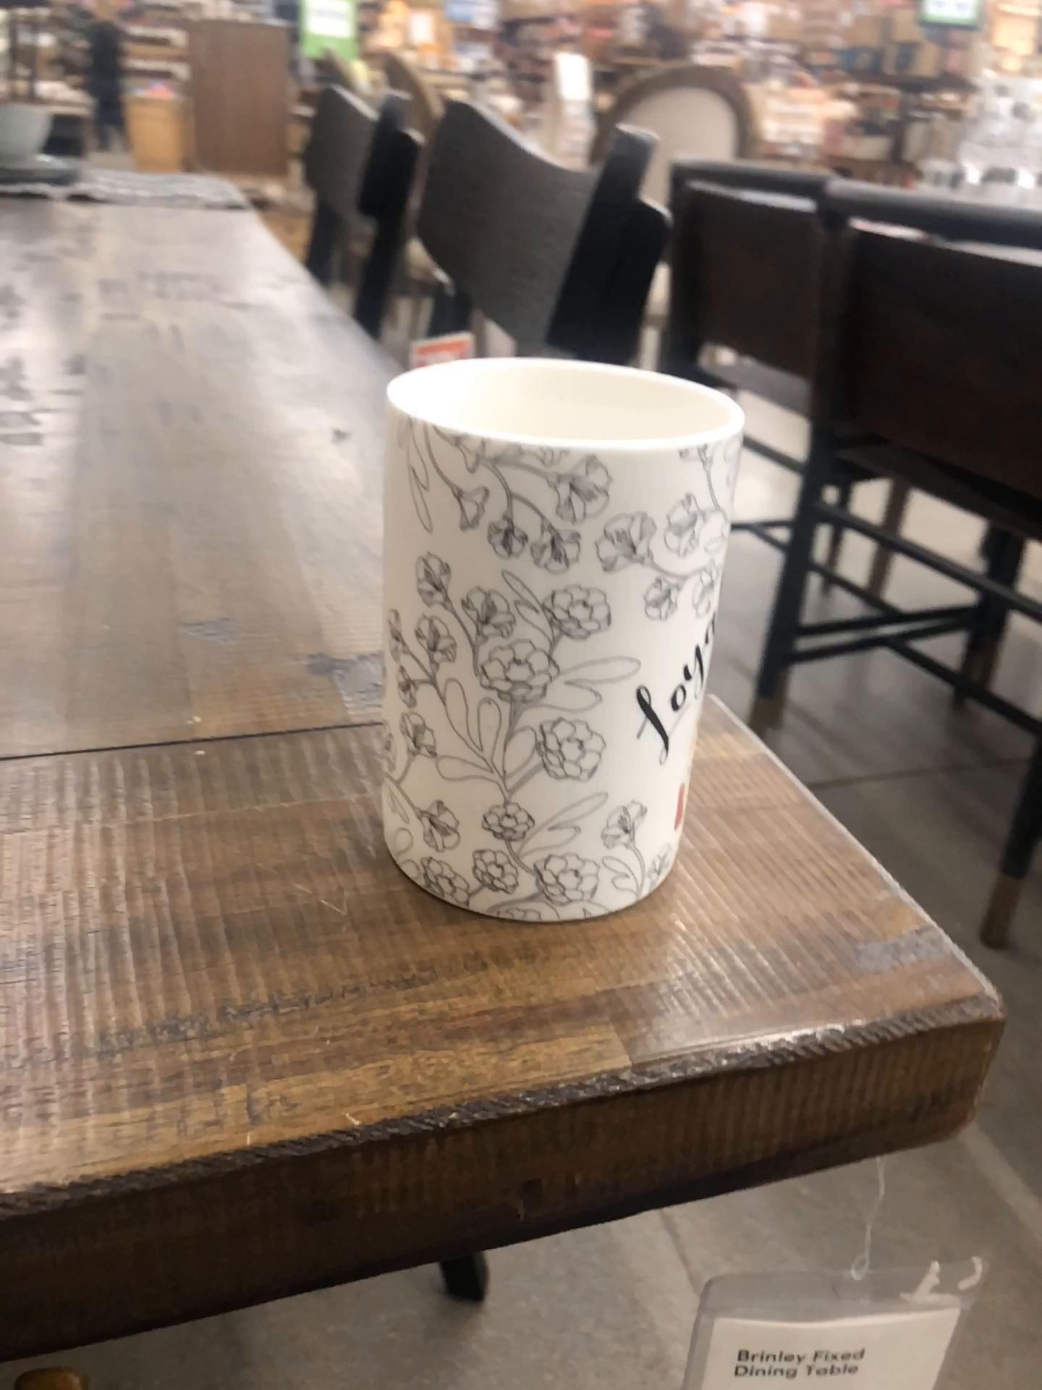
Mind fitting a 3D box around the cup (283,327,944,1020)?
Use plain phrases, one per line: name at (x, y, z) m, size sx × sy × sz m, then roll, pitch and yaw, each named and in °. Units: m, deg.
cup at (0.022, -0.018, 0.286) m, size 0.097 × 0.115 × 0.120 m, roll 23°, pitch 32°, yaw 34°
